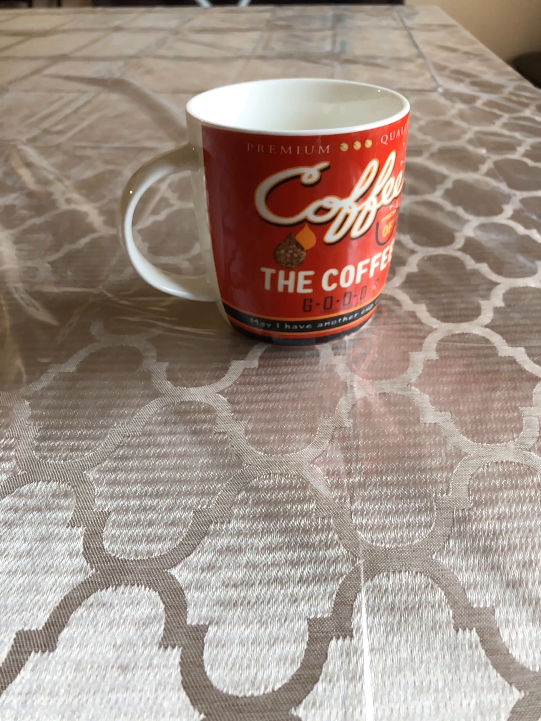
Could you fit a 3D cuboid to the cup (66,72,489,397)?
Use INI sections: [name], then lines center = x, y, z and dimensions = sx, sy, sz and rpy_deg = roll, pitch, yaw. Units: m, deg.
[cup]
center = -0.004, -0.067, 0.265
dimensions = 0.130, 0.080, 0.120
rpy_deg = -1, 35, 1
